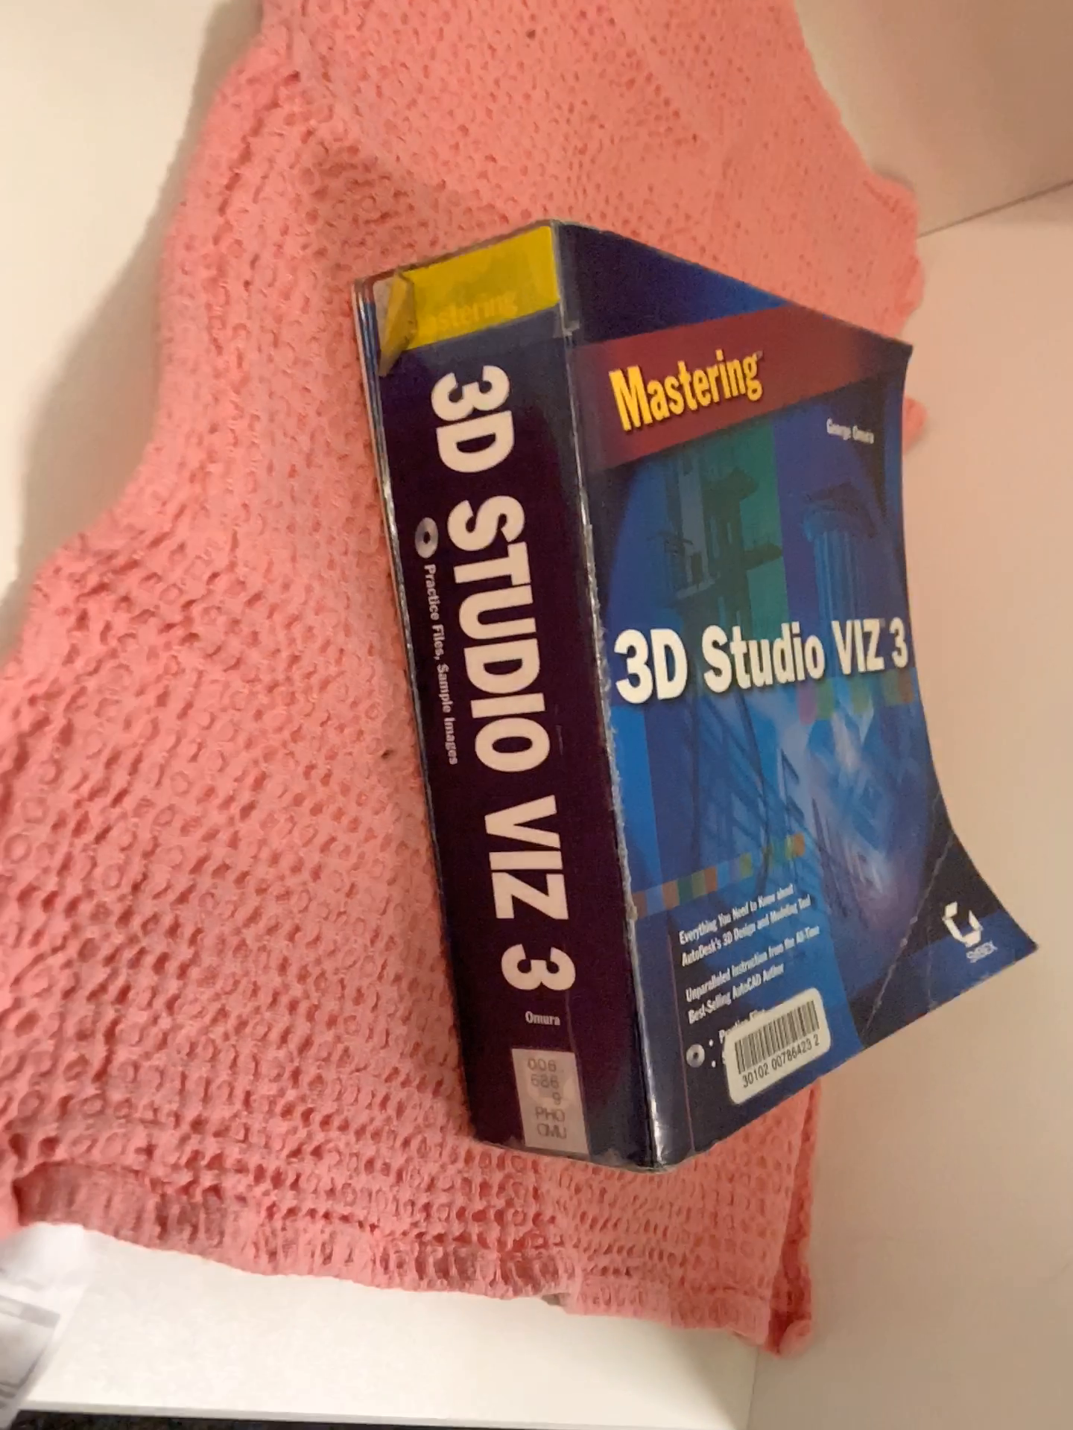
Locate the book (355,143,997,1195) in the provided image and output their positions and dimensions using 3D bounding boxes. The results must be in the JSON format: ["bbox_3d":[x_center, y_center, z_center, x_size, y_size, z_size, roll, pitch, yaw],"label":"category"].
[{"bbox_3d":[0.061,-0.016,0.347,0.207,0.077,0.231,-9,92,-51],"label":"book"}]
